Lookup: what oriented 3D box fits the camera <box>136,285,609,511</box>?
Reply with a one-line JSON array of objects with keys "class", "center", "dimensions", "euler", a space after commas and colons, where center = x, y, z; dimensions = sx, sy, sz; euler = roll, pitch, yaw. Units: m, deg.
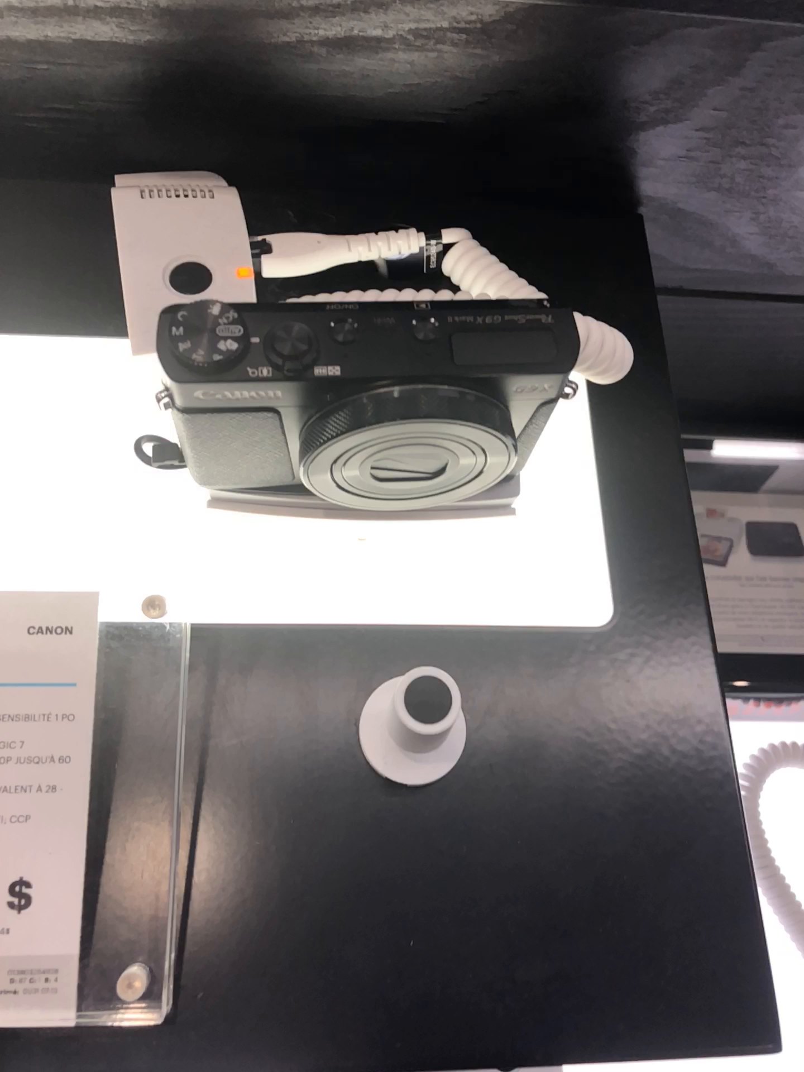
[{"class": "camera", "center": [-0.009, -0.032, 0.219], "dimensions": [0.100, 0.059, 0.025], "euler": [-3, 66, -8]}]
